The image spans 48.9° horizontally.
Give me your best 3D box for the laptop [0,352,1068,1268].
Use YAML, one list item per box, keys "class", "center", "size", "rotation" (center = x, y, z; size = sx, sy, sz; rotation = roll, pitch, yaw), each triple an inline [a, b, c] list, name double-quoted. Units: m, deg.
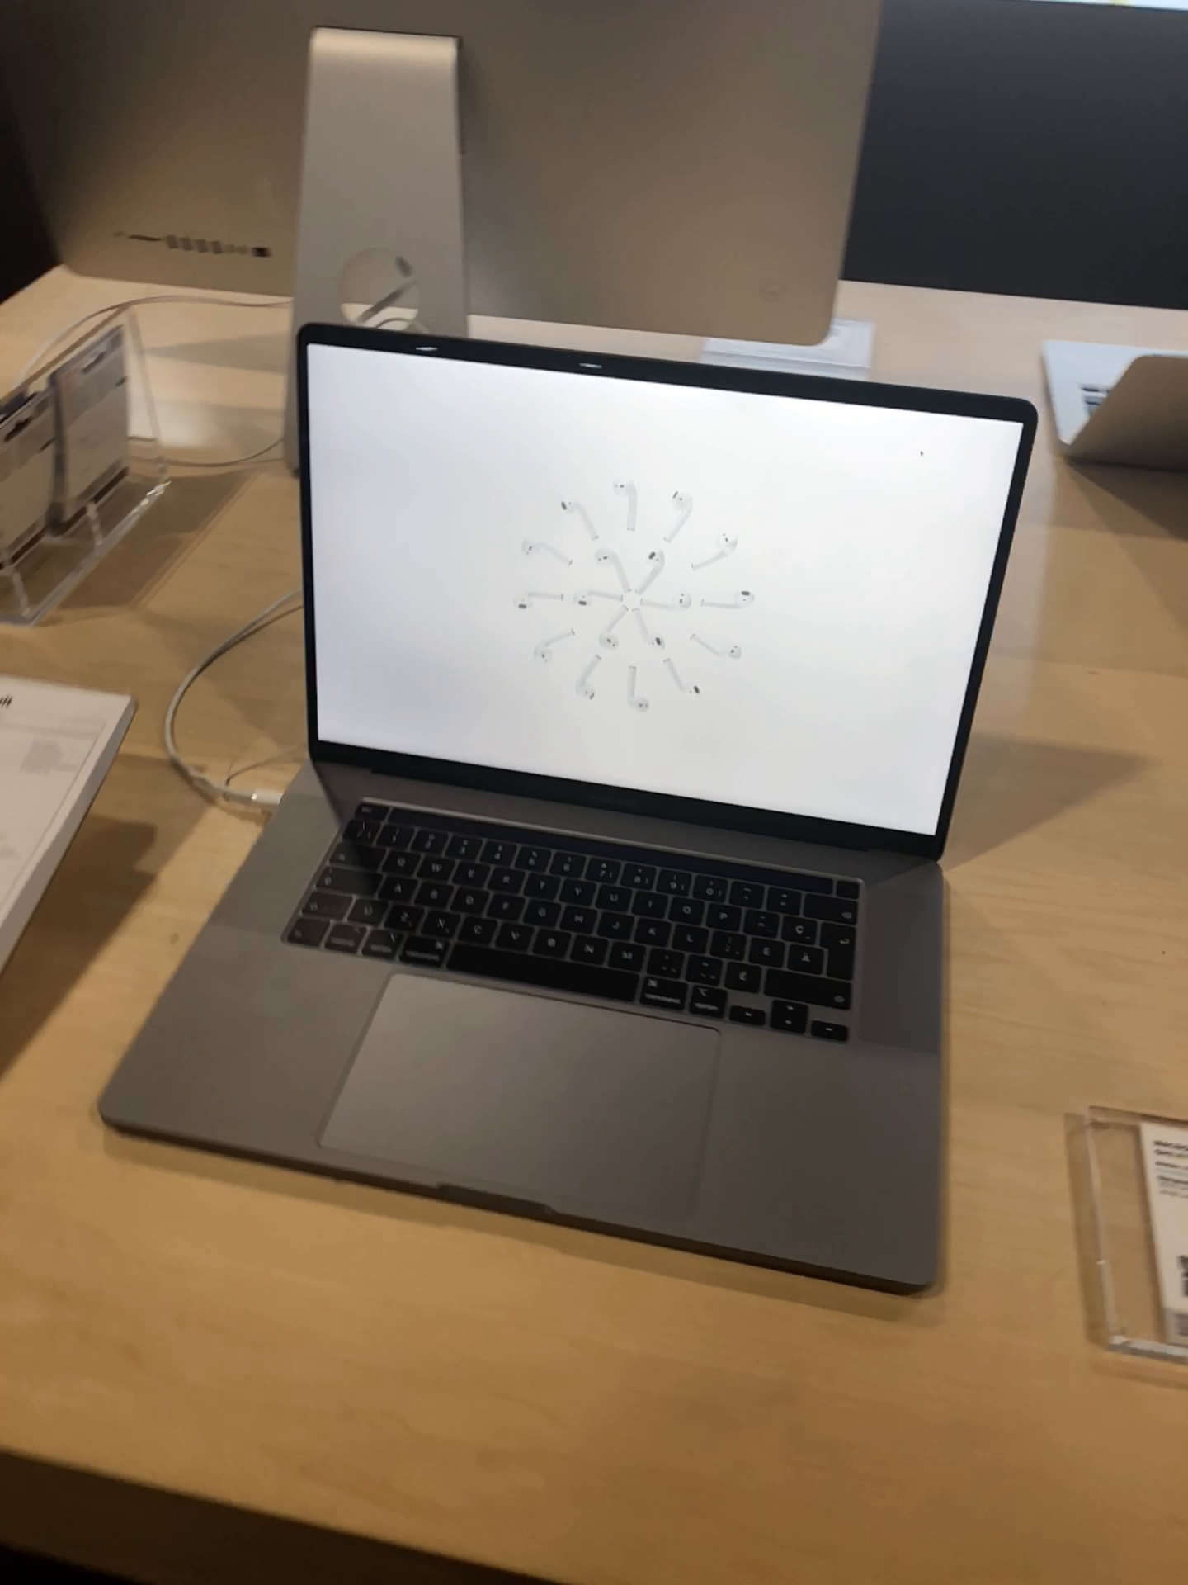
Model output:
- class: "laptop"
  center: [-0.006, -0.014, 0.569]
  size: [0.344, 0.227, 0.293]
  rotation: [8, 40, 9]
